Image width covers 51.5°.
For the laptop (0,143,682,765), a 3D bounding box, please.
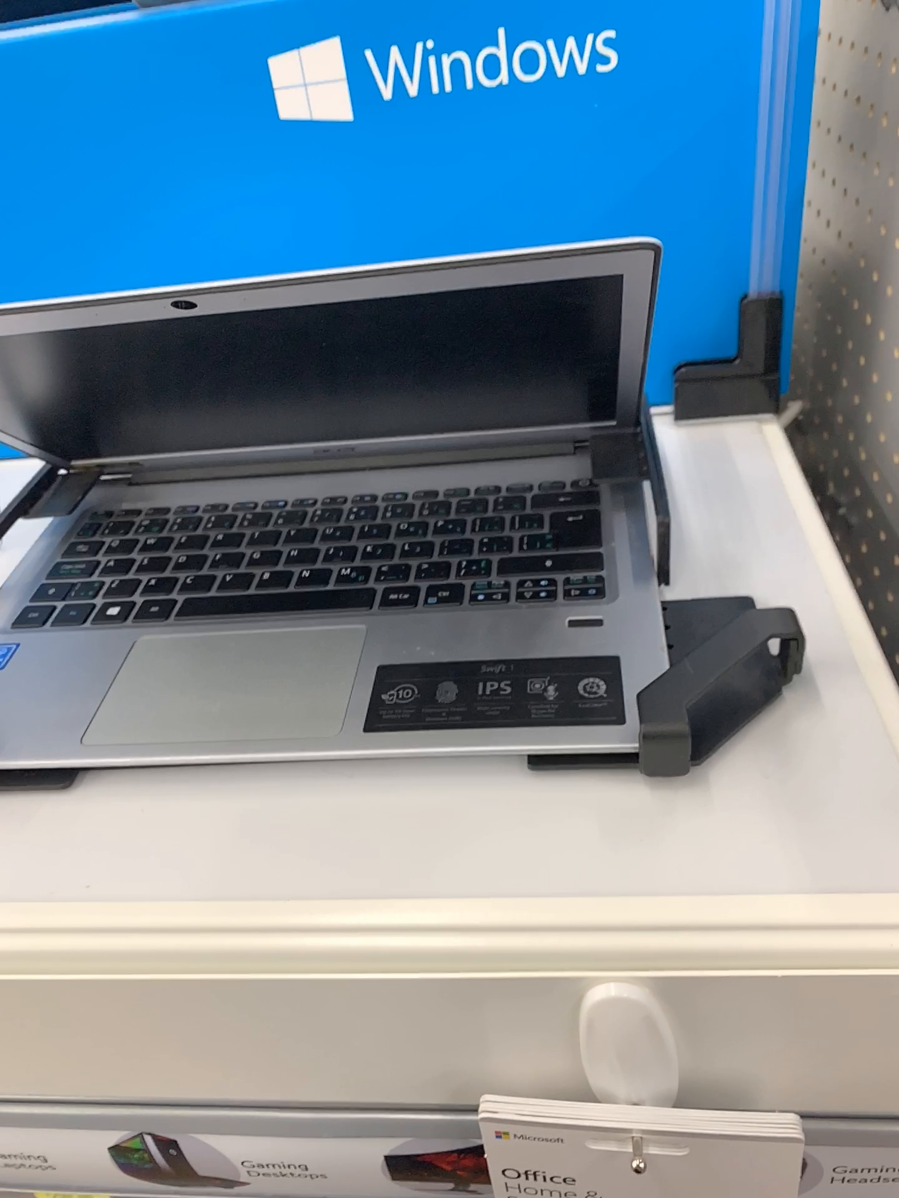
[{"bbox_3d":[-0.076,-0.062,0.376,0.307,0.140,0.198,-3,39,9],"label":"laptop"}]
